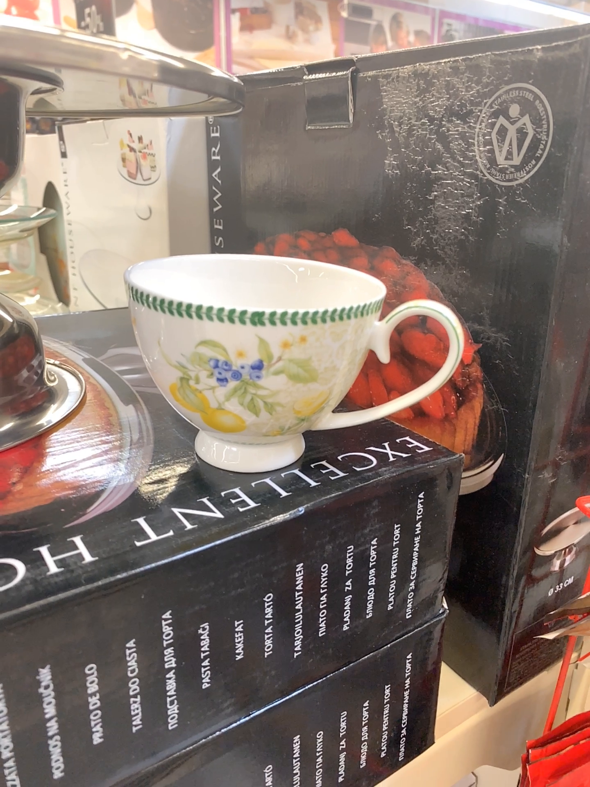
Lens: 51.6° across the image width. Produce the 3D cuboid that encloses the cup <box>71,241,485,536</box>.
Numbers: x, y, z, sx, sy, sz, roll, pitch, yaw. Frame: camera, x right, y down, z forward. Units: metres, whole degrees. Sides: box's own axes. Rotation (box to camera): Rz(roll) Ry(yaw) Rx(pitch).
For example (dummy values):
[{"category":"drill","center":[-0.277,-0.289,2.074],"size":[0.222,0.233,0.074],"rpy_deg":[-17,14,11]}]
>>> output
[{"category":"cup","center":[0.000,-0.015,0.245],"size":[0.130,0.070,0.100],"rpy_deg":[10,23,19]}]
